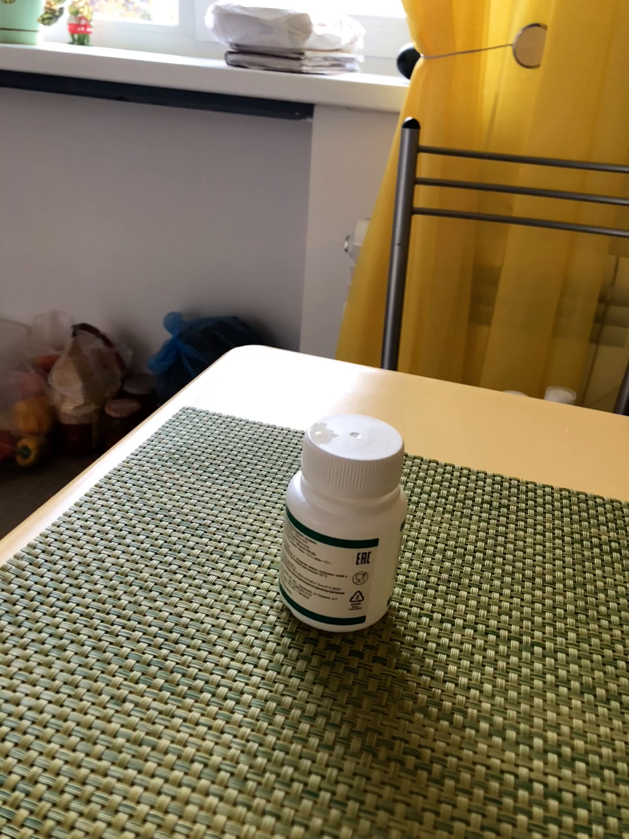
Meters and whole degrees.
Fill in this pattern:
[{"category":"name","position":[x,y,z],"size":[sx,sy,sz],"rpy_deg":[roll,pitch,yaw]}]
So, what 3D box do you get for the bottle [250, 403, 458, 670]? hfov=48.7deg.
[{"category":"bottle","position":[0.012,0.040,0.258],"size":[0.050,0.070,0.050],"rpy_deg":[4,27,-2]}]
